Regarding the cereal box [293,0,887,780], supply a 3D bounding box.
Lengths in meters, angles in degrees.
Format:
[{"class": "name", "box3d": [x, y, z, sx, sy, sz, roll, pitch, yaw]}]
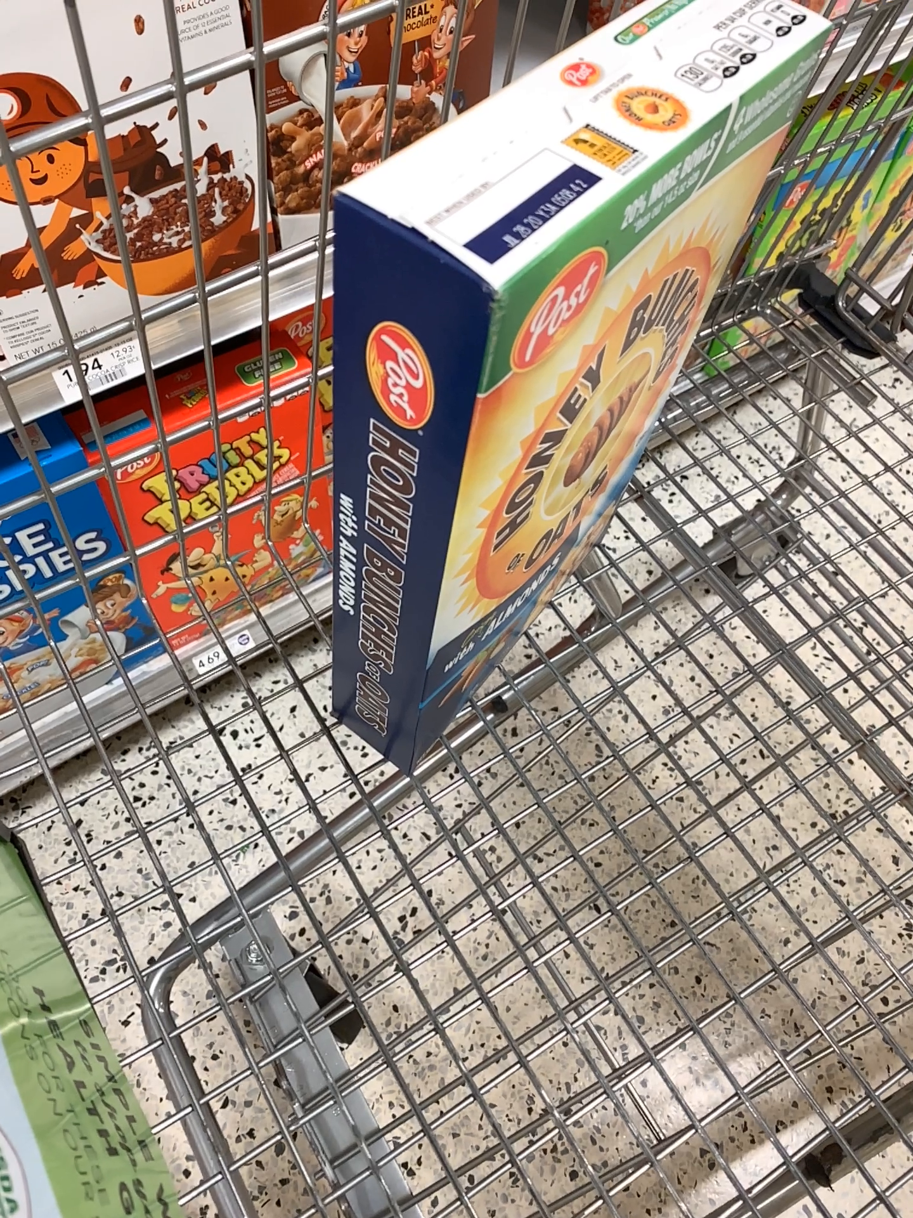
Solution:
[{"class": "cereal box", "box3d": [0.032, -0.074, 0.396, 0.060, 0.308, 0.211, 38, 62, 14]}]
